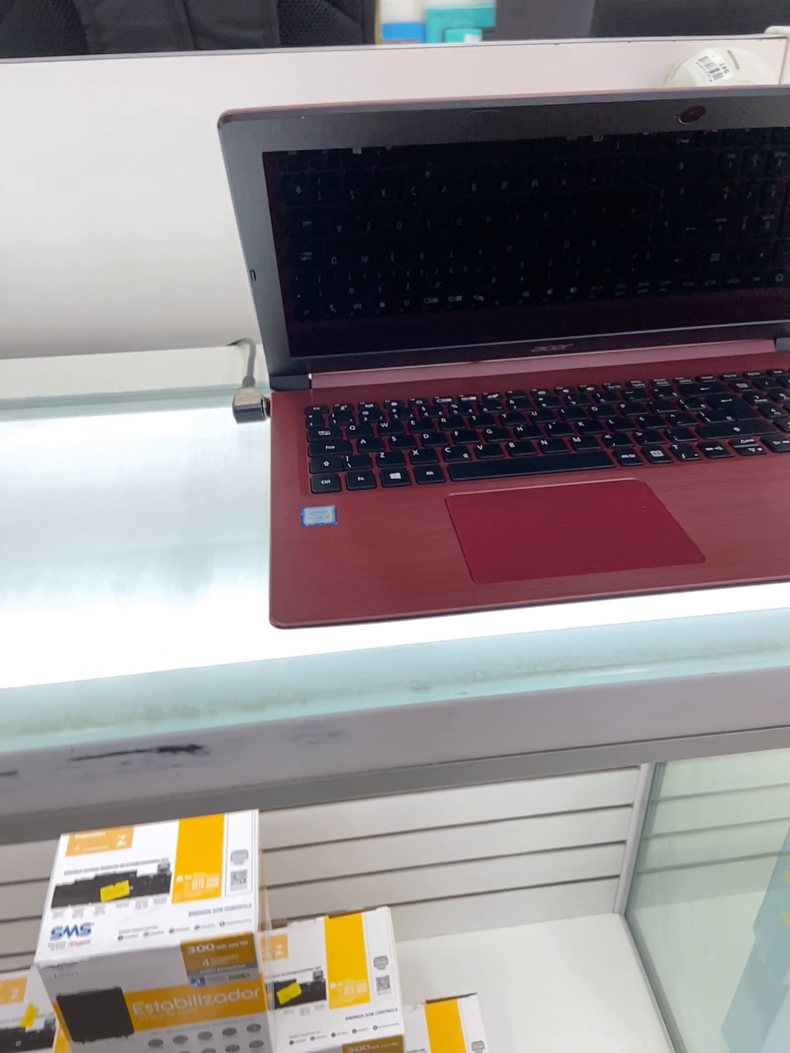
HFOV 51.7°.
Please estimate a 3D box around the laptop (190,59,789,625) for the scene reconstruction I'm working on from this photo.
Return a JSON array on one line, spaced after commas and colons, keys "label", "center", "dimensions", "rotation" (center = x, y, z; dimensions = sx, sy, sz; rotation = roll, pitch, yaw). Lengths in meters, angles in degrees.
[{"label": "laptop", "center": [0.111, -0.115, 0.400], "dimensions": [0.367, 0.179, 0.239], "rotation": [-5, 33, -6]}]
